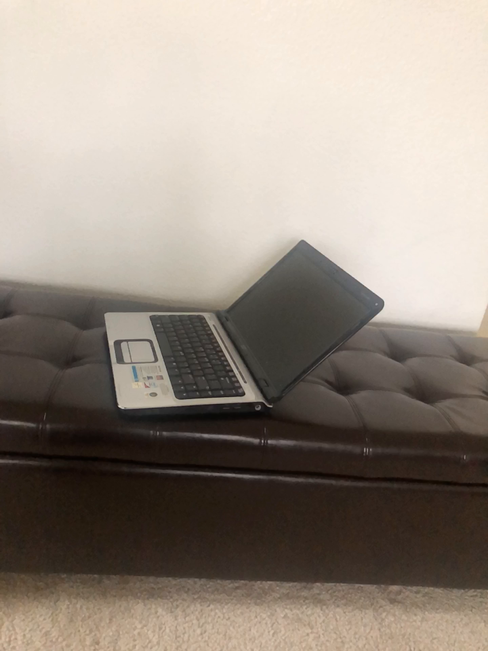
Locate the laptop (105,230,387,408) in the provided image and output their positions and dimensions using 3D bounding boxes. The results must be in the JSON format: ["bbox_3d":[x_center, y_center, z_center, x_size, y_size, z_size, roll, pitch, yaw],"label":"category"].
[{"bbox_3d":[-0.026,-0.031,0.908,0.381,0.161,0.327,0,25,-19],"label":"laptop"}]
